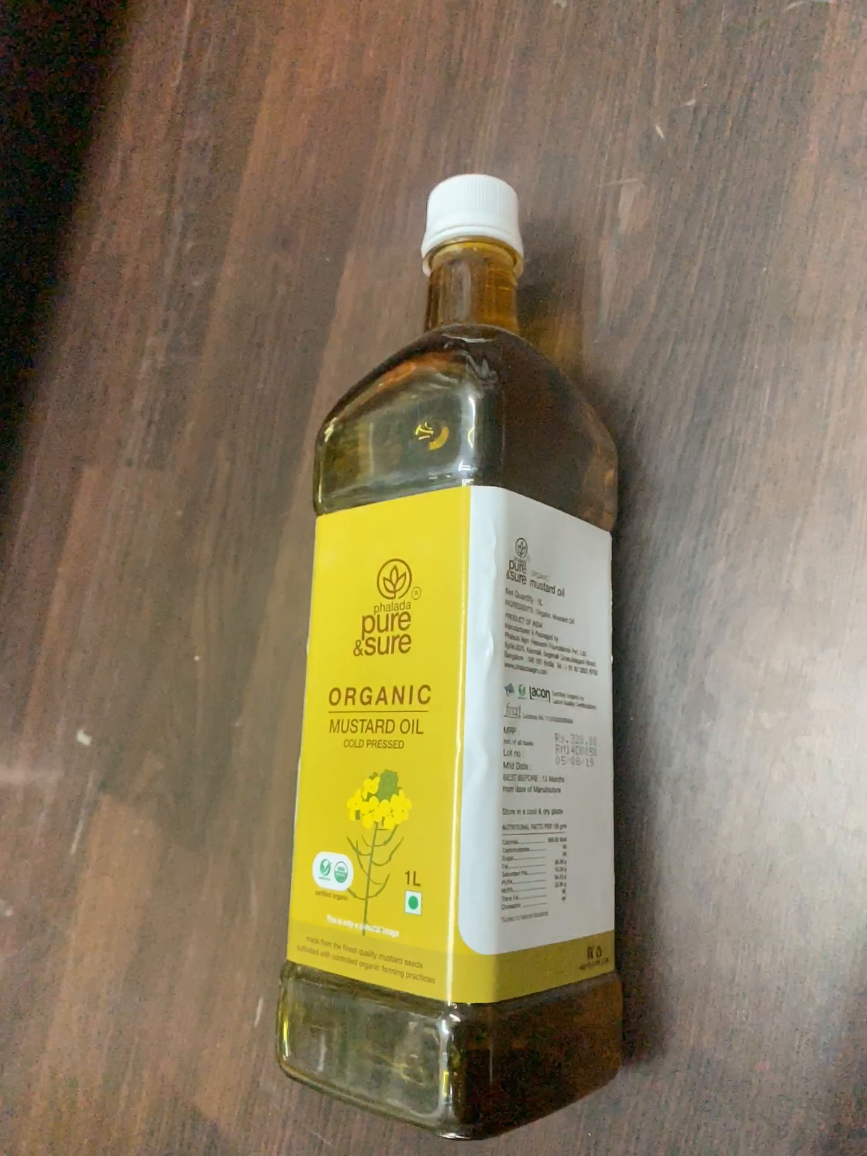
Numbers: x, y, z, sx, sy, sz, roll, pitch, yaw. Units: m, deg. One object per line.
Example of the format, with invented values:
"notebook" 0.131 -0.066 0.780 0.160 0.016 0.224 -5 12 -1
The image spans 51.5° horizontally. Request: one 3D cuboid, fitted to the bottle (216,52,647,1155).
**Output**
"bottle" 0.006 0.006 0.264 0.080 0.080 0.270 -7 75 40
